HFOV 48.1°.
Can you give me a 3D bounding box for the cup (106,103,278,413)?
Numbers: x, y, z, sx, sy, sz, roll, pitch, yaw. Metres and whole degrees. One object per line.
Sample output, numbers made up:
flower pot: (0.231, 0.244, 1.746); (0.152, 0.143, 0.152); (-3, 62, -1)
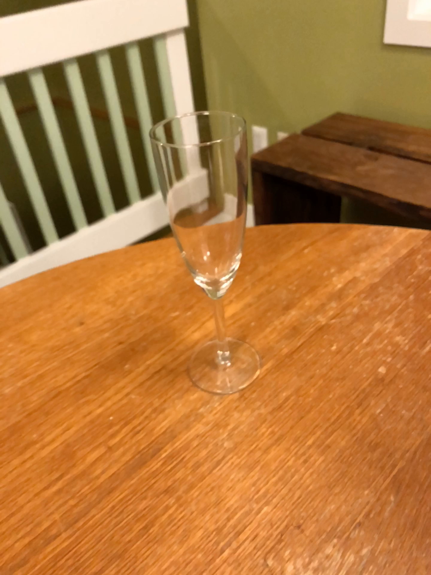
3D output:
cup: (-0.007, -0.016, 0.366); (0.077, 0.211, 0.070); (-33, 44, -30)
